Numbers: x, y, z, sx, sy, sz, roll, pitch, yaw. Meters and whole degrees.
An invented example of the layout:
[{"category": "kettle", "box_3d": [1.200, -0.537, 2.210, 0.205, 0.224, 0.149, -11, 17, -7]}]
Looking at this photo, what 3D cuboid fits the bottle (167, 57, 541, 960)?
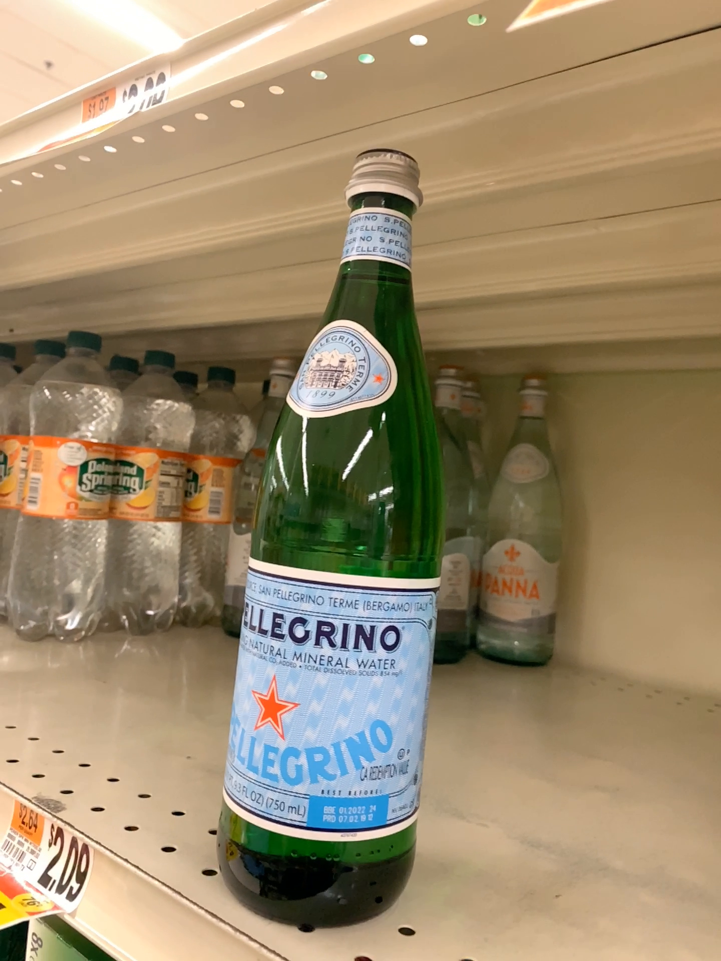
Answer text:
[{"category": "bottle", "box_3d": [-0.001, 0.010, 0.298, 0.090, 0.290, 0.090, 5, -1, 0]}]
